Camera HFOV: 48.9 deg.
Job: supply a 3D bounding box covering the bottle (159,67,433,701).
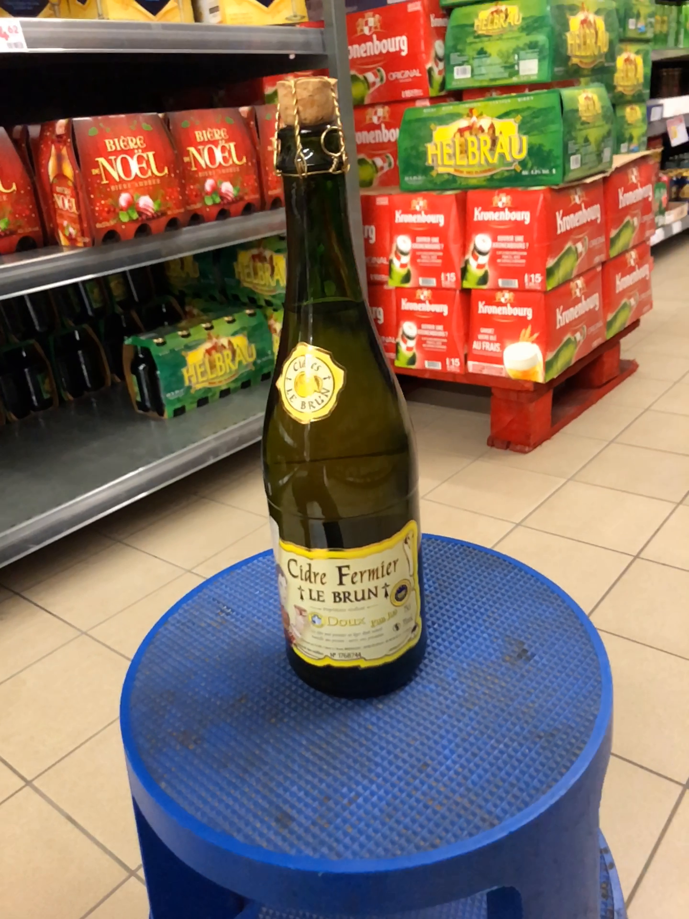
[{"bbox_3d":[-0.008,-0.026,0.388,0.090,0.298,0.091,-5,23,2],"label":"bottle"}]
